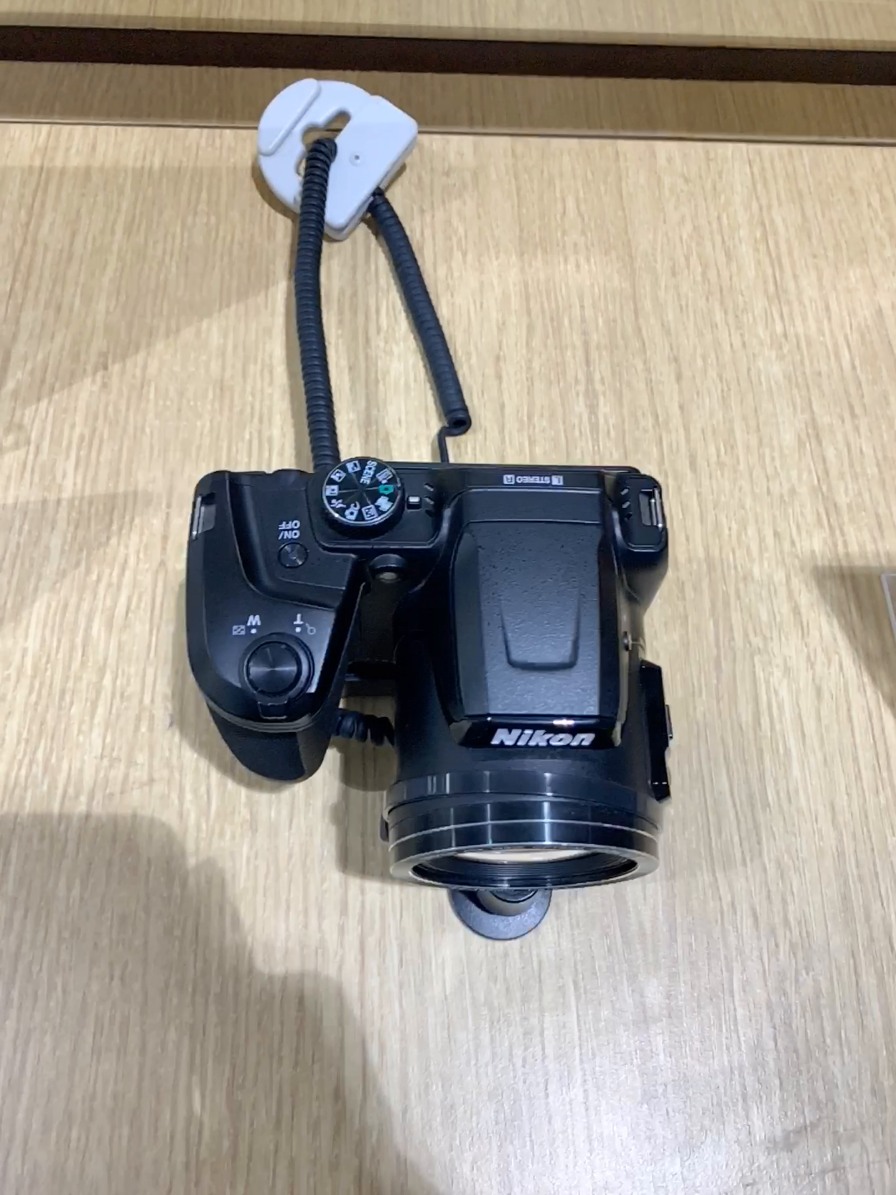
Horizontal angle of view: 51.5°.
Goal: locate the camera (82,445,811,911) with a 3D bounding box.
[{"bbox_3d":[-0.002,0.020,0.201,0.120,0.070,0.080,-1,66,-3],"label":"camera"}]
